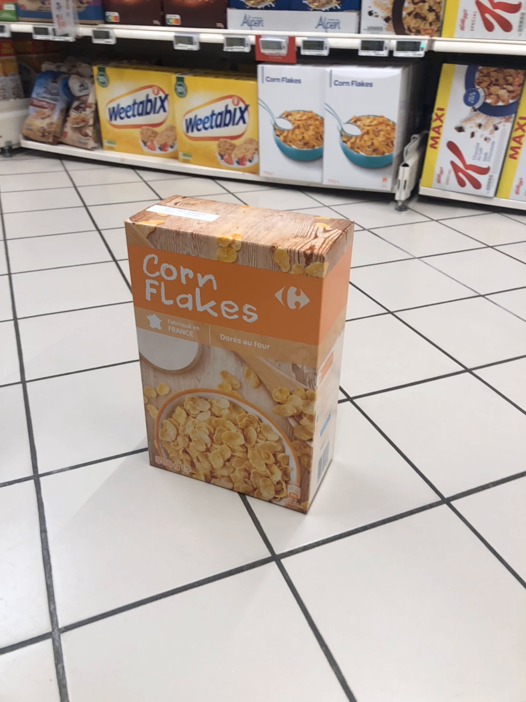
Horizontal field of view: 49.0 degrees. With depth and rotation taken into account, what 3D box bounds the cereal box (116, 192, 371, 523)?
[{"bbox_3d":[-0.017,0.004,0.584,0.200,0.278,0.111,13,31,19],"label":"cereal box"}]
